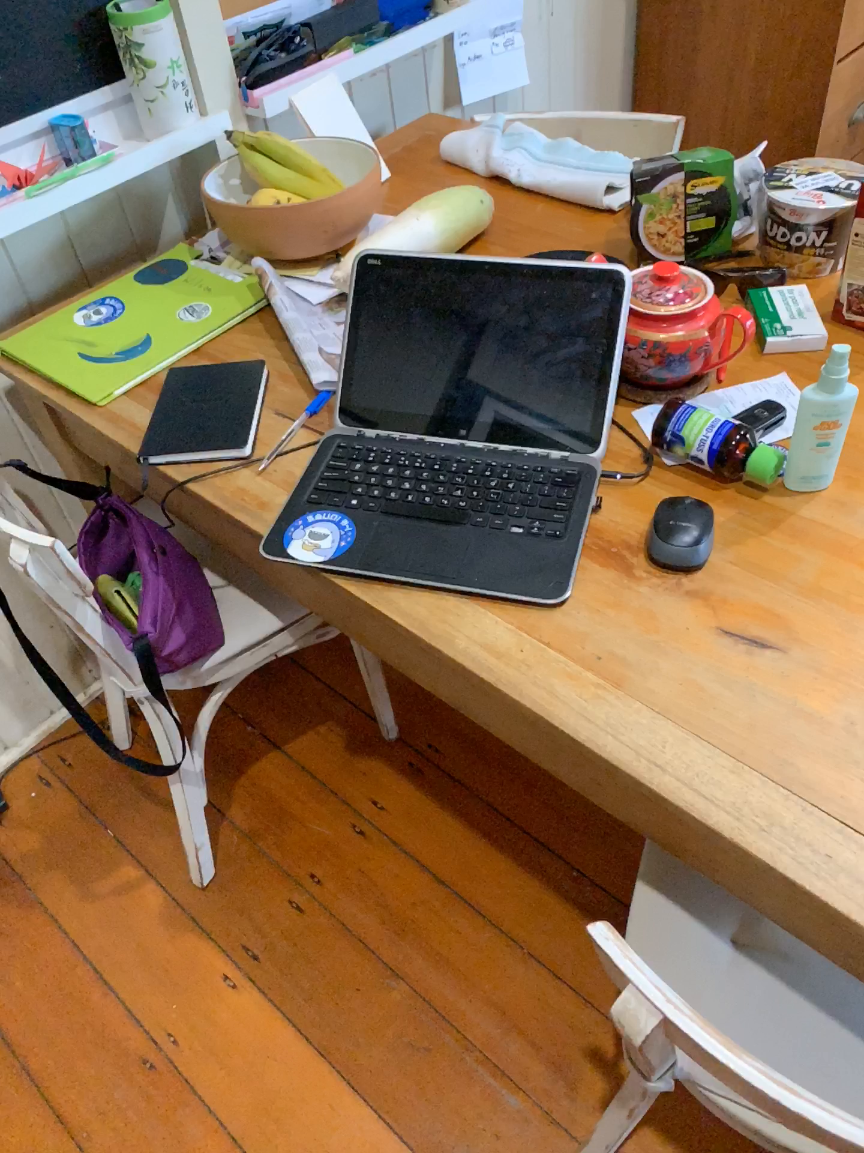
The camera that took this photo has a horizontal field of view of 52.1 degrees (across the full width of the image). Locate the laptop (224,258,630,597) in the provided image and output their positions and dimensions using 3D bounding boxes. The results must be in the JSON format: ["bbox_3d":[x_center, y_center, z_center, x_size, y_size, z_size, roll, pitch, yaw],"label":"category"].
[{"bbox_3d":[0.018,-0.170,0.900,0.303,0.139,0.340,8,49,15],"label":"laptop"}]
